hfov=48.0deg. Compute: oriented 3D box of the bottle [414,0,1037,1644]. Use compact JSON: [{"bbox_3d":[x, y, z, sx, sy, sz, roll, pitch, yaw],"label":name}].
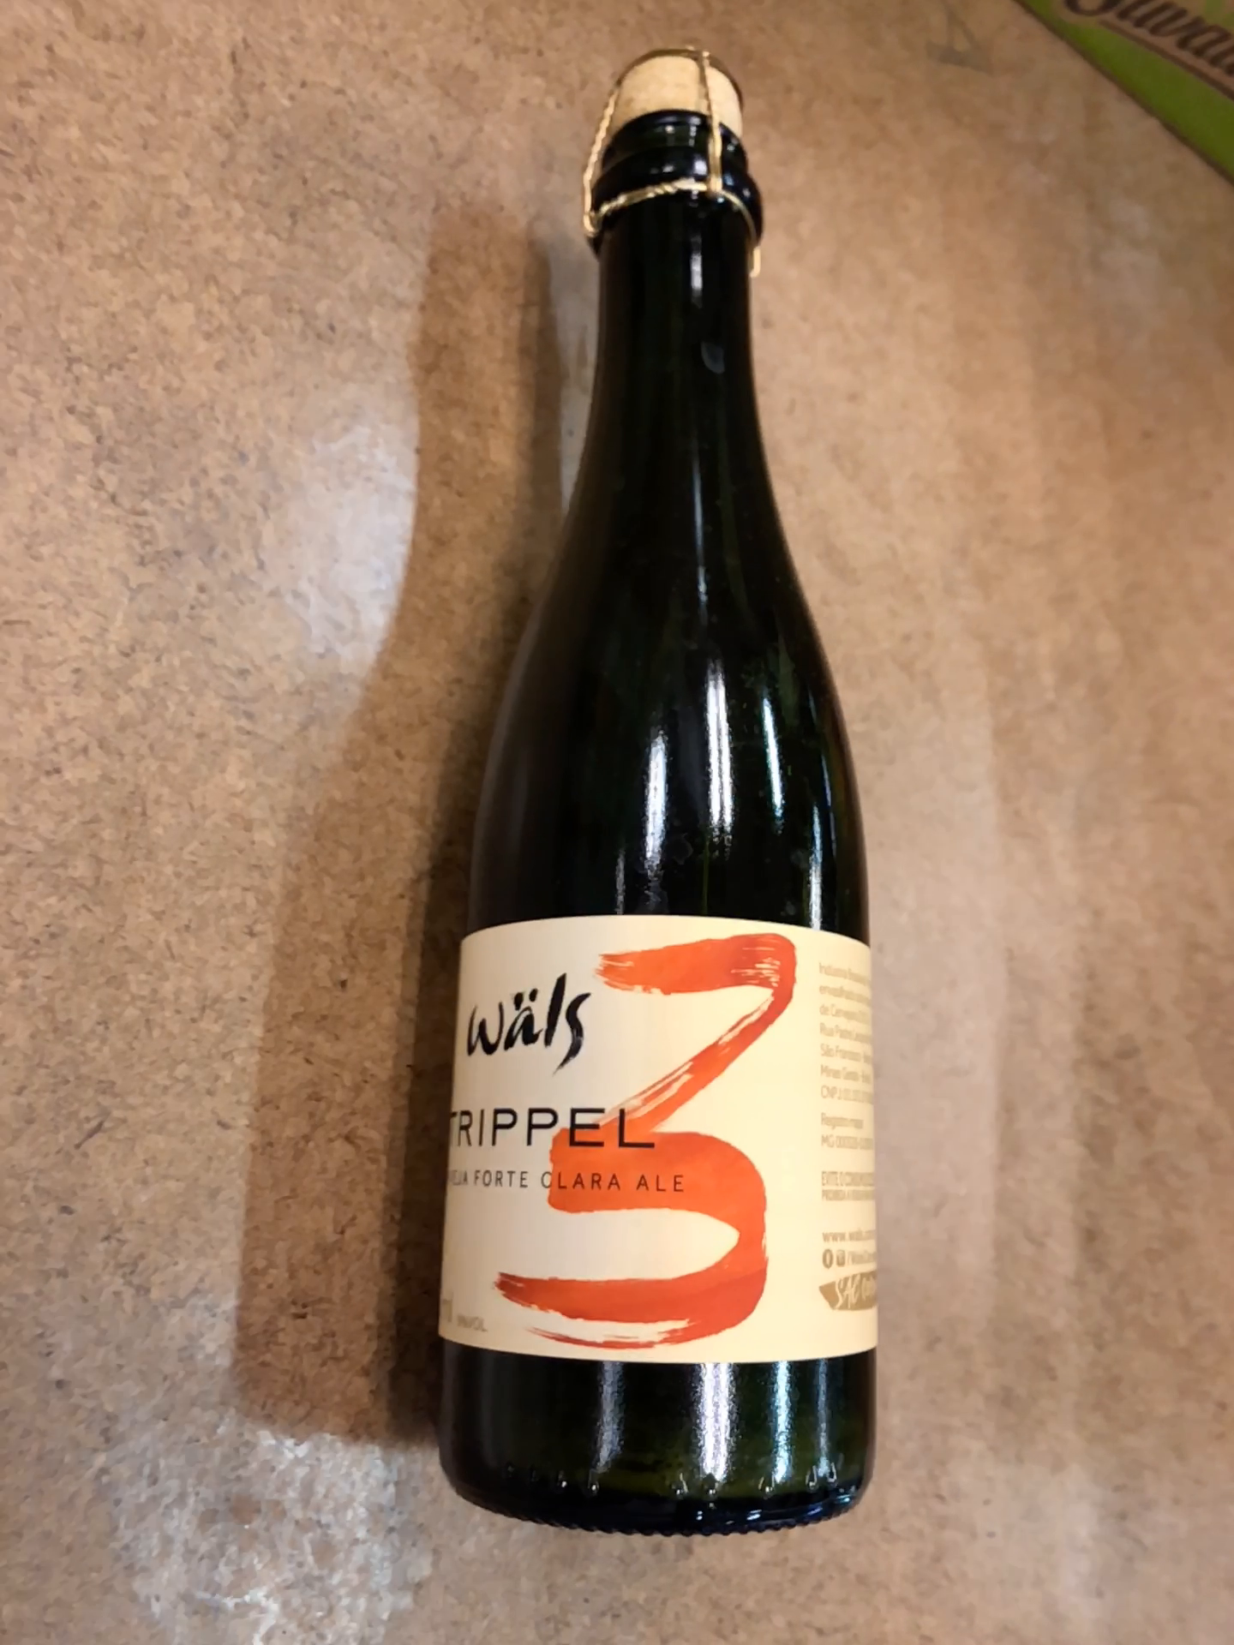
[{"bbox_3d":[0.020,-0.031,0.225,0.070,0.050,0.270,13,72,-36],"label":"bottle"}]
